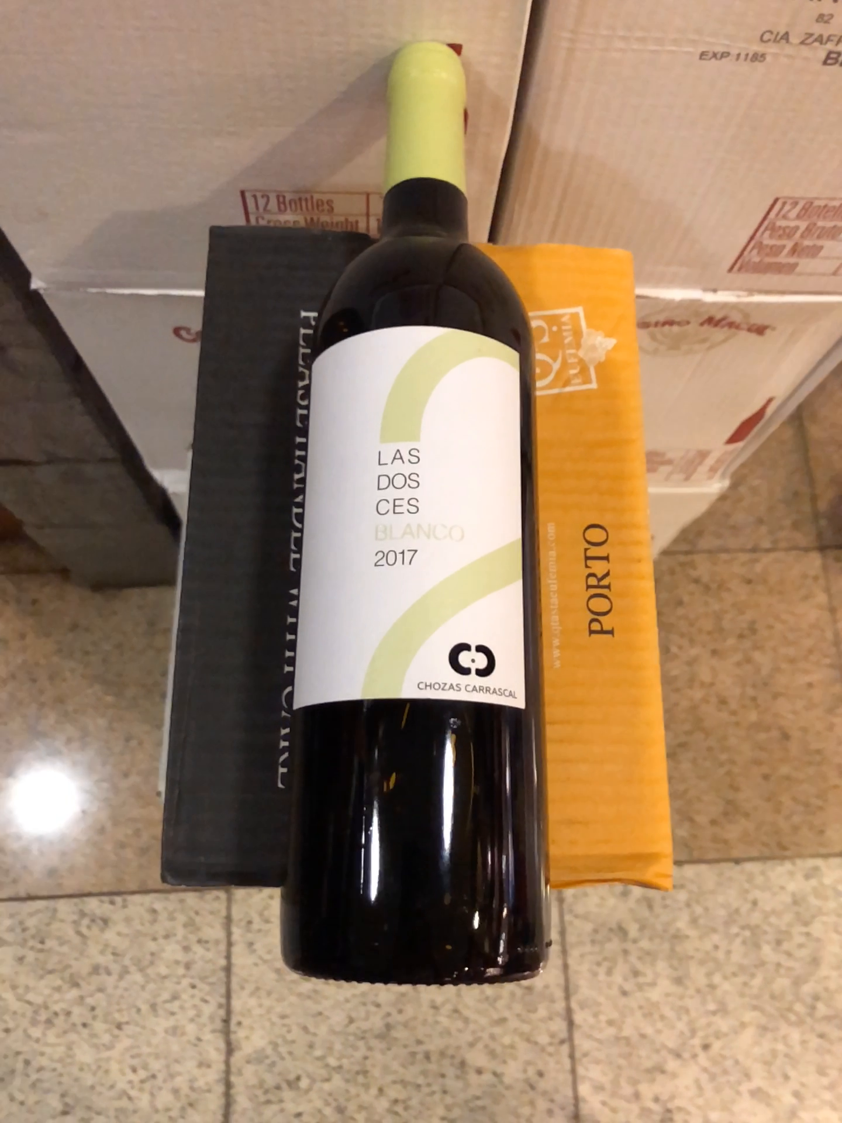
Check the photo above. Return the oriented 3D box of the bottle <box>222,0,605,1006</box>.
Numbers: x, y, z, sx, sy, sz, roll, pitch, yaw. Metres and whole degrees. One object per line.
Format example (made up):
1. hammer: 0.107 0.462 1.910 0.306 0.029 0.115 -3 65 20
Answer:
1. bottle: -0.001 -0.042 0.293 0.090 0.070 0.320 2 76 -3
